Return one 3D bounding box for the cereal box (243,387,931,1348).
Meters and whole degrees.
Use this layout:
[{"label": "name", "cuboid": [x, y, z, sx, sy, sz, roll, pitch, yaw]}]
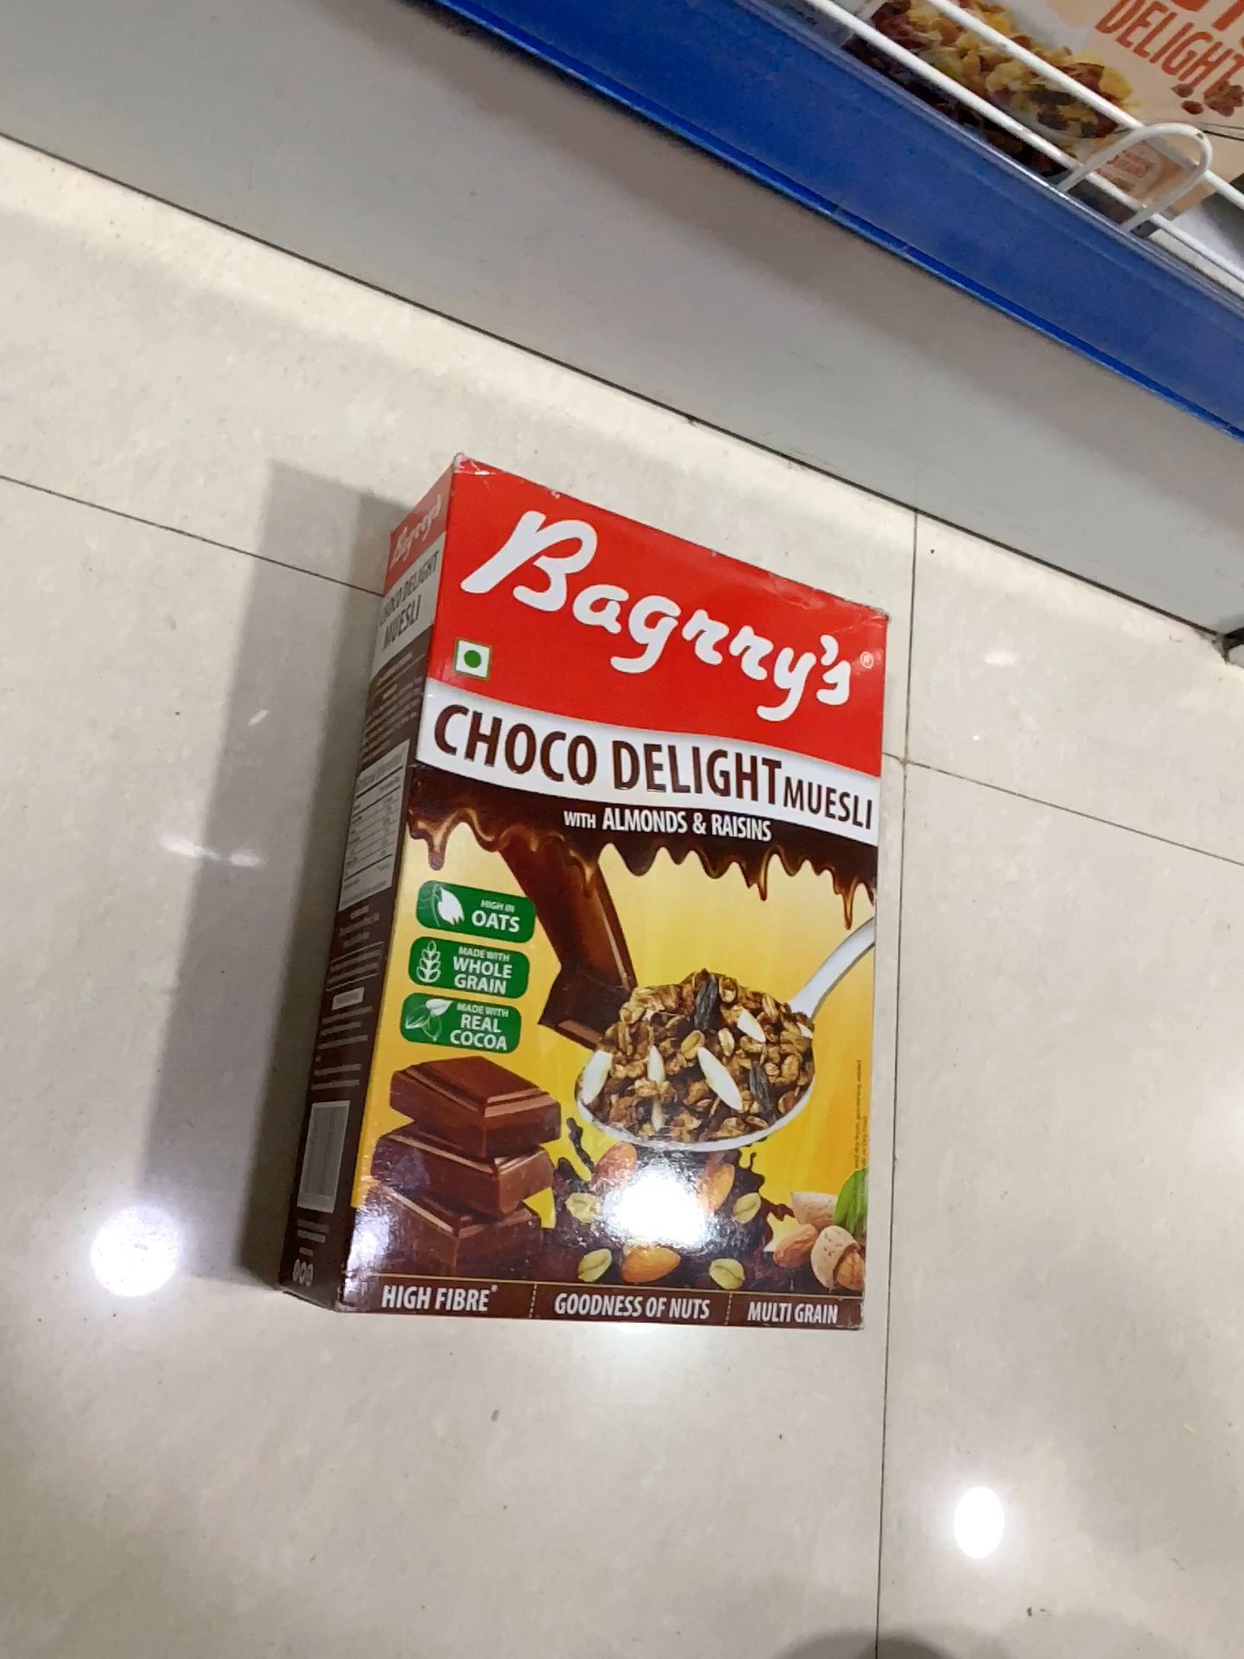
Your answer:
[{"label": "cereal box", "cuboid": [0.002, 0.023, 0.445, 0.201, 0.080, 0.280, 14, 72, -27]}]
